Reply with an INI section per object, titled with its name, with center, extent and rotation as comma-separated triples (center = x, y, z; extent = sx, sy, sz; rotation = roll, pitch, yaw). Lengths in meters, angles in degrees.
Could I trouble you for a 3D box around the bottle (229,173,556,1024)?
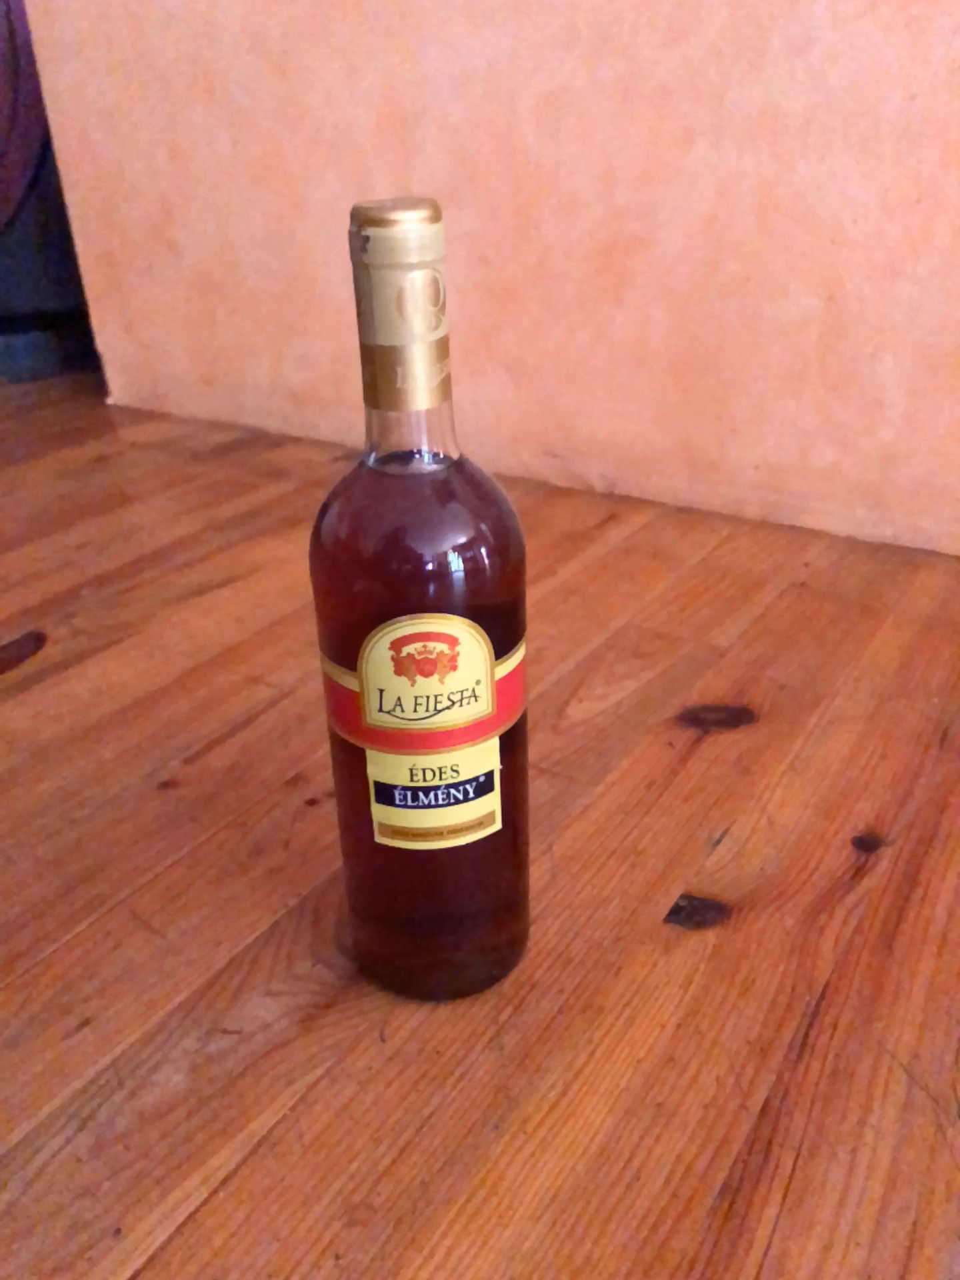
[bottle]
center = -0.022, -0.004, 0.377
extent = 0.080, 0.288, 0.080
rotation = -3, 27, 1
